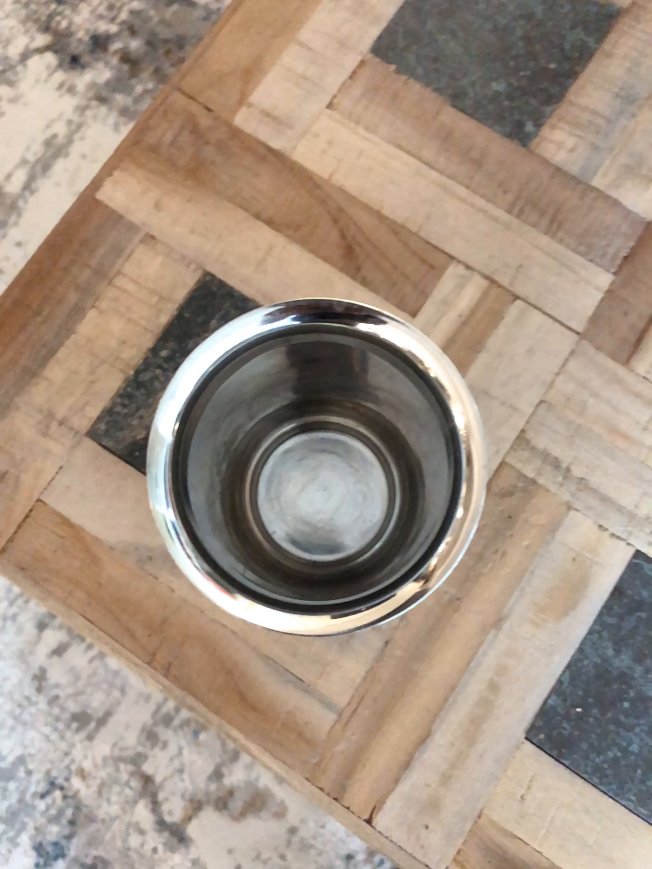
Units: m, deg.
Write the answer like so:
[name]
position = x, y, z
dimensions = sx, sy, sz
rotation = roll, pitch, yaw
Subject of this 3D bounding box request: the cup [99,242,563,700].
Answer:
[cup]
position = 0.001, 0.014, 0.222
dimensions = 0.084, 0.088, 0.082
rotation = 0, 80, 1
